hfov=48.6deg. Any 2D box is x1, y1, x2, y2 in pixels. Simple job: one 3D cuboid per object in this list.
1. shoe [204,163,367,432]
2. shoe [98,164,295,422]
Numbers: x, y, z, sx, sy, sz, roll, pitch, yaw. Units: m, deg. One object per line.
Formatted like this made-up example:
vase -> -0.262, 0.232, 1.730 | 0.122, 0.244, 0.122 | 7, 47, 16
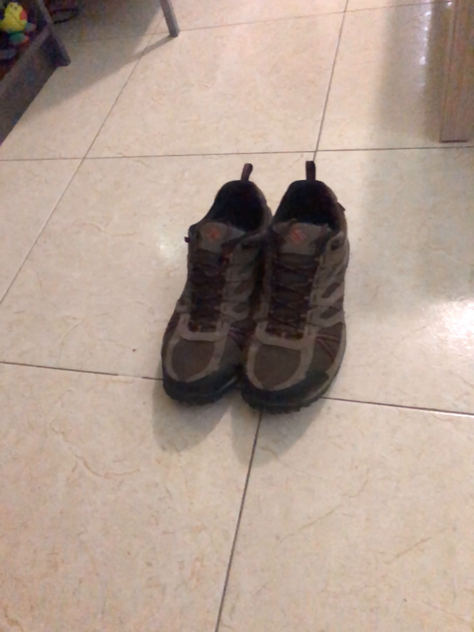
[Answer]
shoe -> 0.076, -0.037, 0.642 | 0.120, 0.120, 0.311 | 6, 56, 19
shoe -> -0.031, -0.043, 0.657 | 0.130, 0.110, 0.311 | 7, 57, 19
